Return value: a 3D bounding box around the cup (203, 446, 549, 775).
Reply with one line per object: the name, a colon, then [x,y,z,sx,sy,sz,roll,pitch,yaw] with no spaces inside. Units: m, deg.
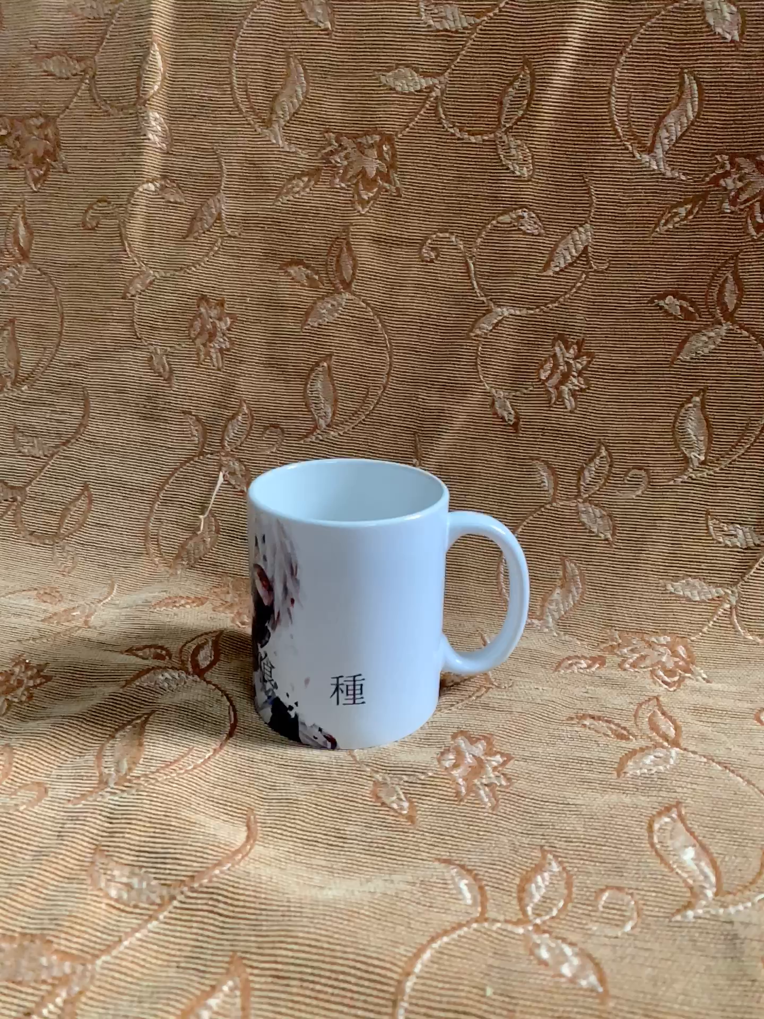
cup: [-0.001,0.036,0.326,0.120,0.102,0.080,3,20,4]
